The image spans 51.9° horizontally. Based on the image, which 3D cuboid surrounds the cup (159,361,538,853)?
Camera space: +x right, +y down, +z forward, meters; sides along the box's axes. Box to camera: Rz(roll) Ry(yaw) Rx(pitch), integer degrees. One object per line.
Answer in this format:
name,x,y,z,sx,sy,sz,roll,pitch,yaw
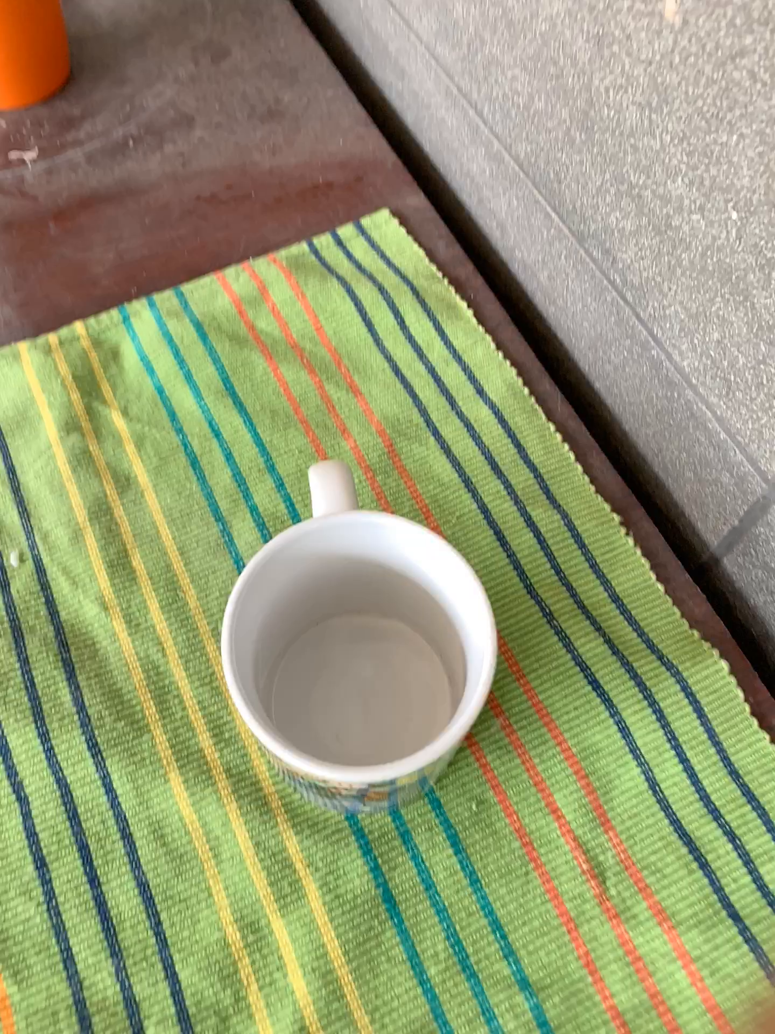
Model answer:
cup,-0.018,0.035,0.280,0.080,0.100,0.130,-14,66,-9
